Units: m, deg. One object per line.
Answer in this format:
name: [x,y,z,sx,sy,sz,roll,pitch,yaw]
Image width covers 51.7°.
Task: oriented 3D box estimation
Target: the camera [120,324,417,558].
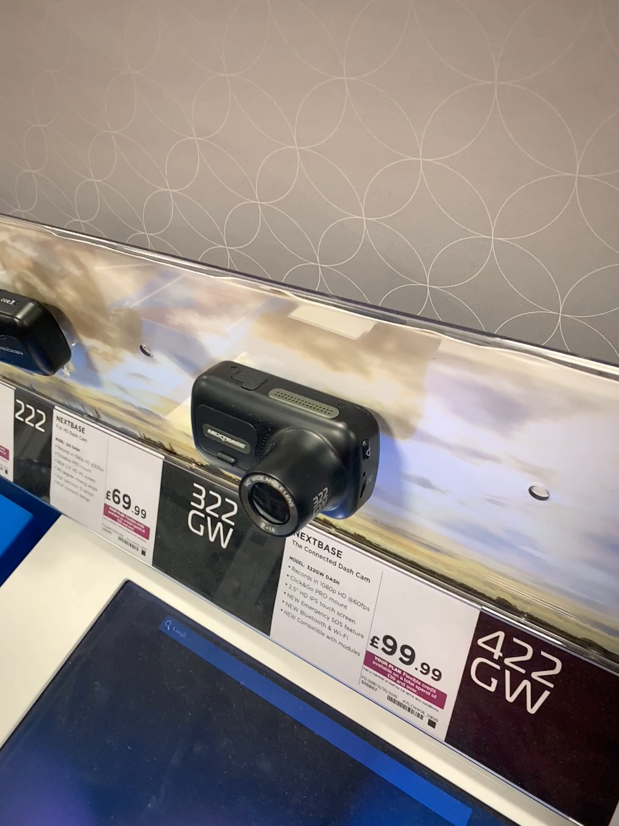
camera: [-0.016,0.004,0.255,0.090,0.040,0.070,22,35,32]
